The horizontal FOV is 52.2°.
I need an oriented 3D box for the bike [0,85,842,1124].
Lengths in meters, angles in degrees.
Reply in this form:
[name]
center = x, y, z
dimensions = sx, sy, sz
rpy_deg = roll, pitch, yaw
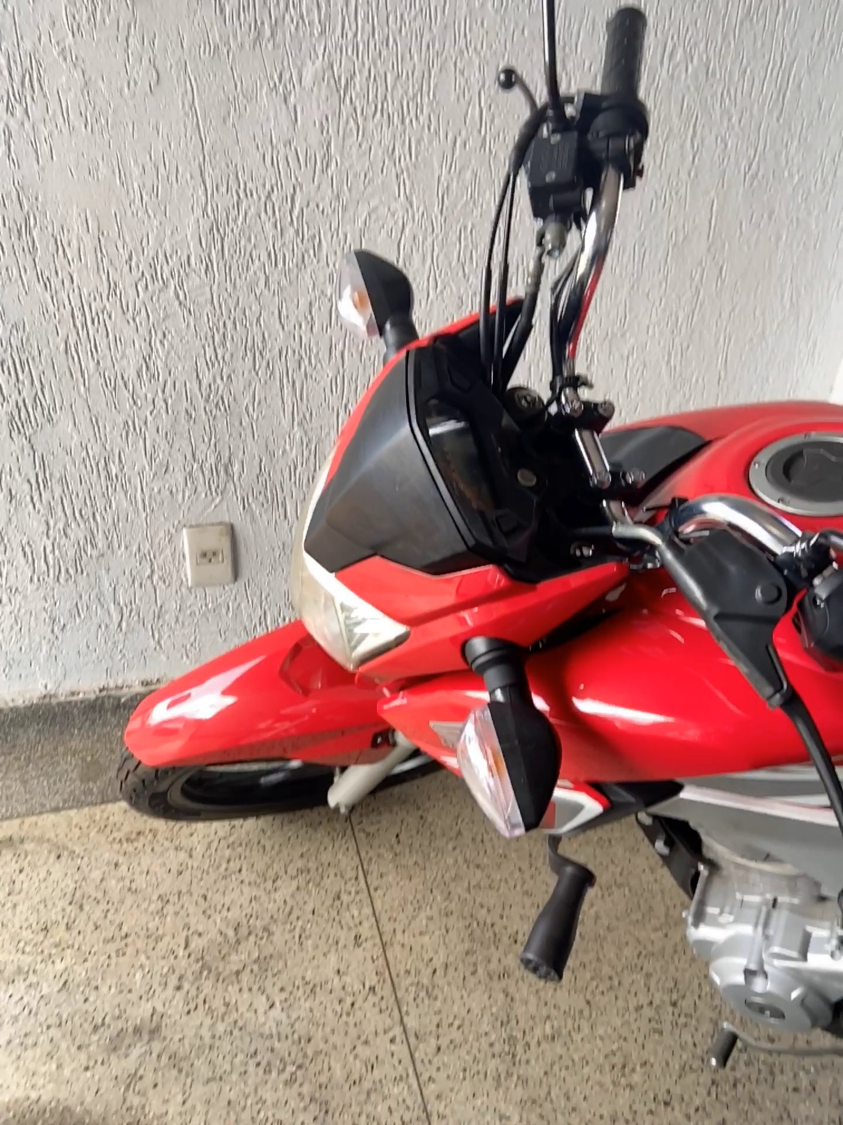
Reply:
[bike]
center = 0.440, 0.376, 0.802
dimensions = 1.990, 1.422, 0.872
rpy_deg = 11, 30, 18
